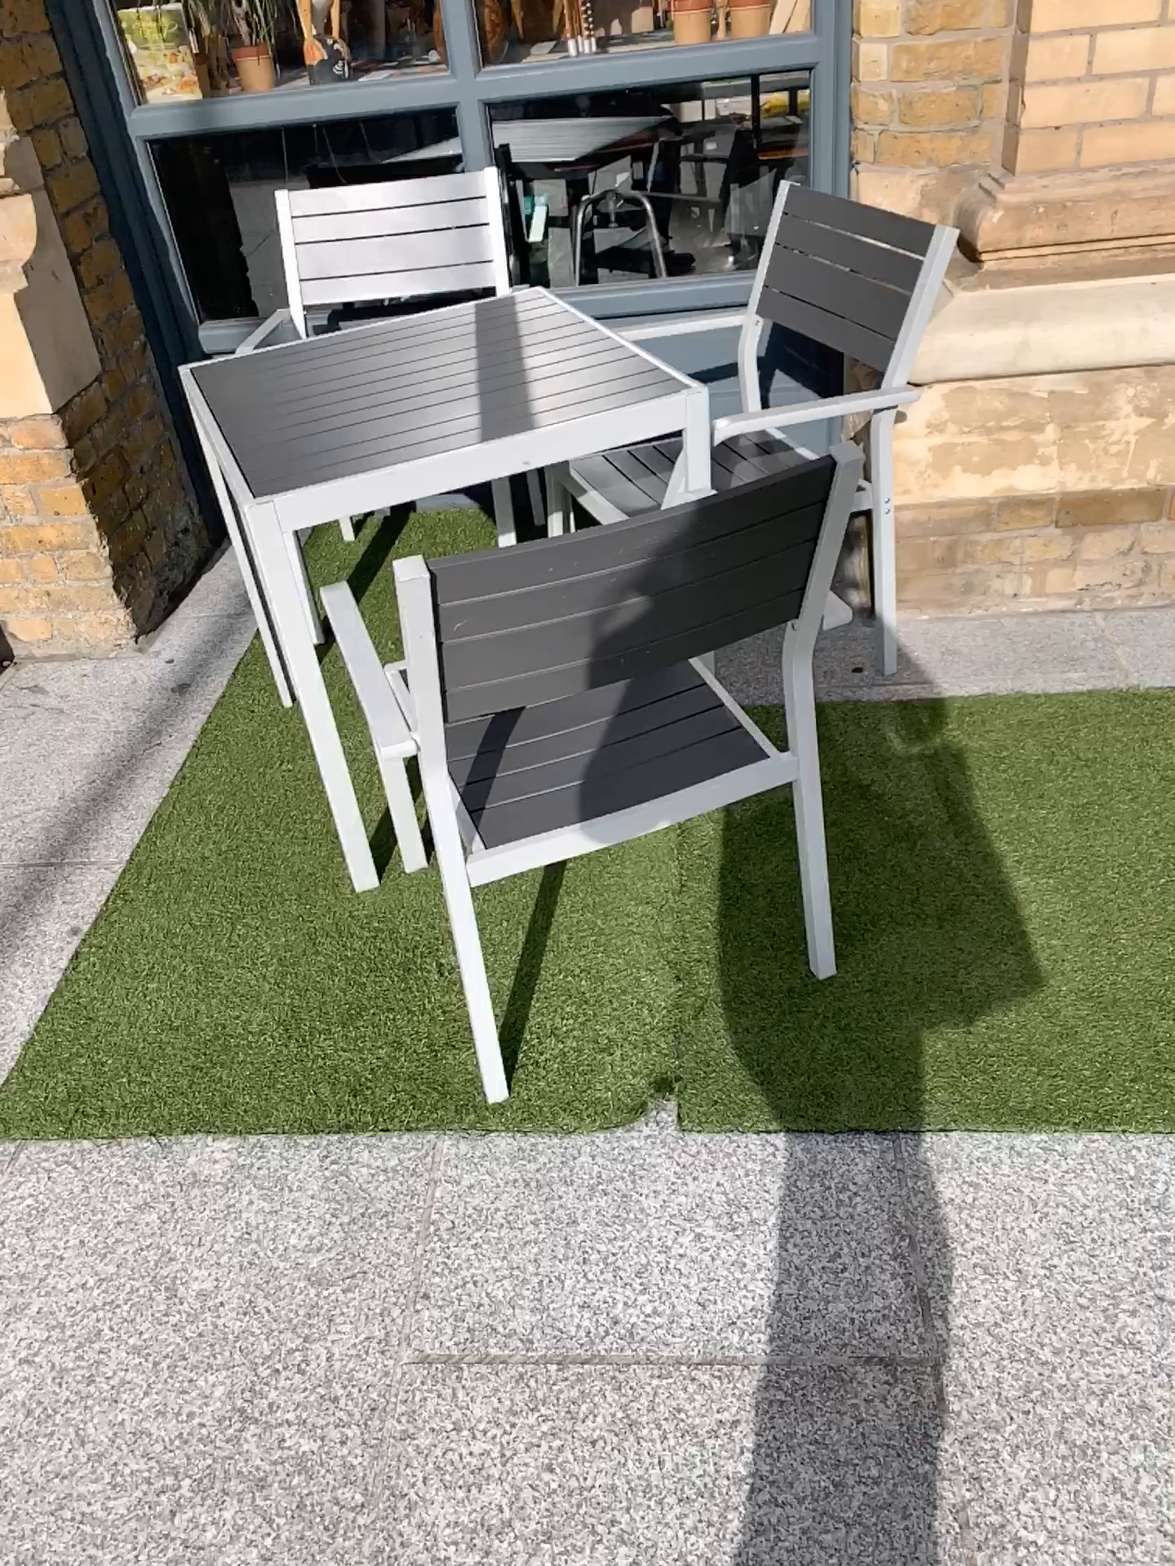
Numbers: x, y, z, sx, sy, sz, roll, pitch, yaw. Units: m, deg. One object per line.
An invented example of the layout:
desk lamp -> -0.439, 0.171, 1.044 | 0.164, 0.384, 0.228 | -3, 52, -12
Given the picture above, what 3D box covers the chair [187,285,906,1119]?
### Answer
chair -> -0.052, -0.153, 1.696 | 0.681, 0.801, 0.651 | -20, 38, -17
